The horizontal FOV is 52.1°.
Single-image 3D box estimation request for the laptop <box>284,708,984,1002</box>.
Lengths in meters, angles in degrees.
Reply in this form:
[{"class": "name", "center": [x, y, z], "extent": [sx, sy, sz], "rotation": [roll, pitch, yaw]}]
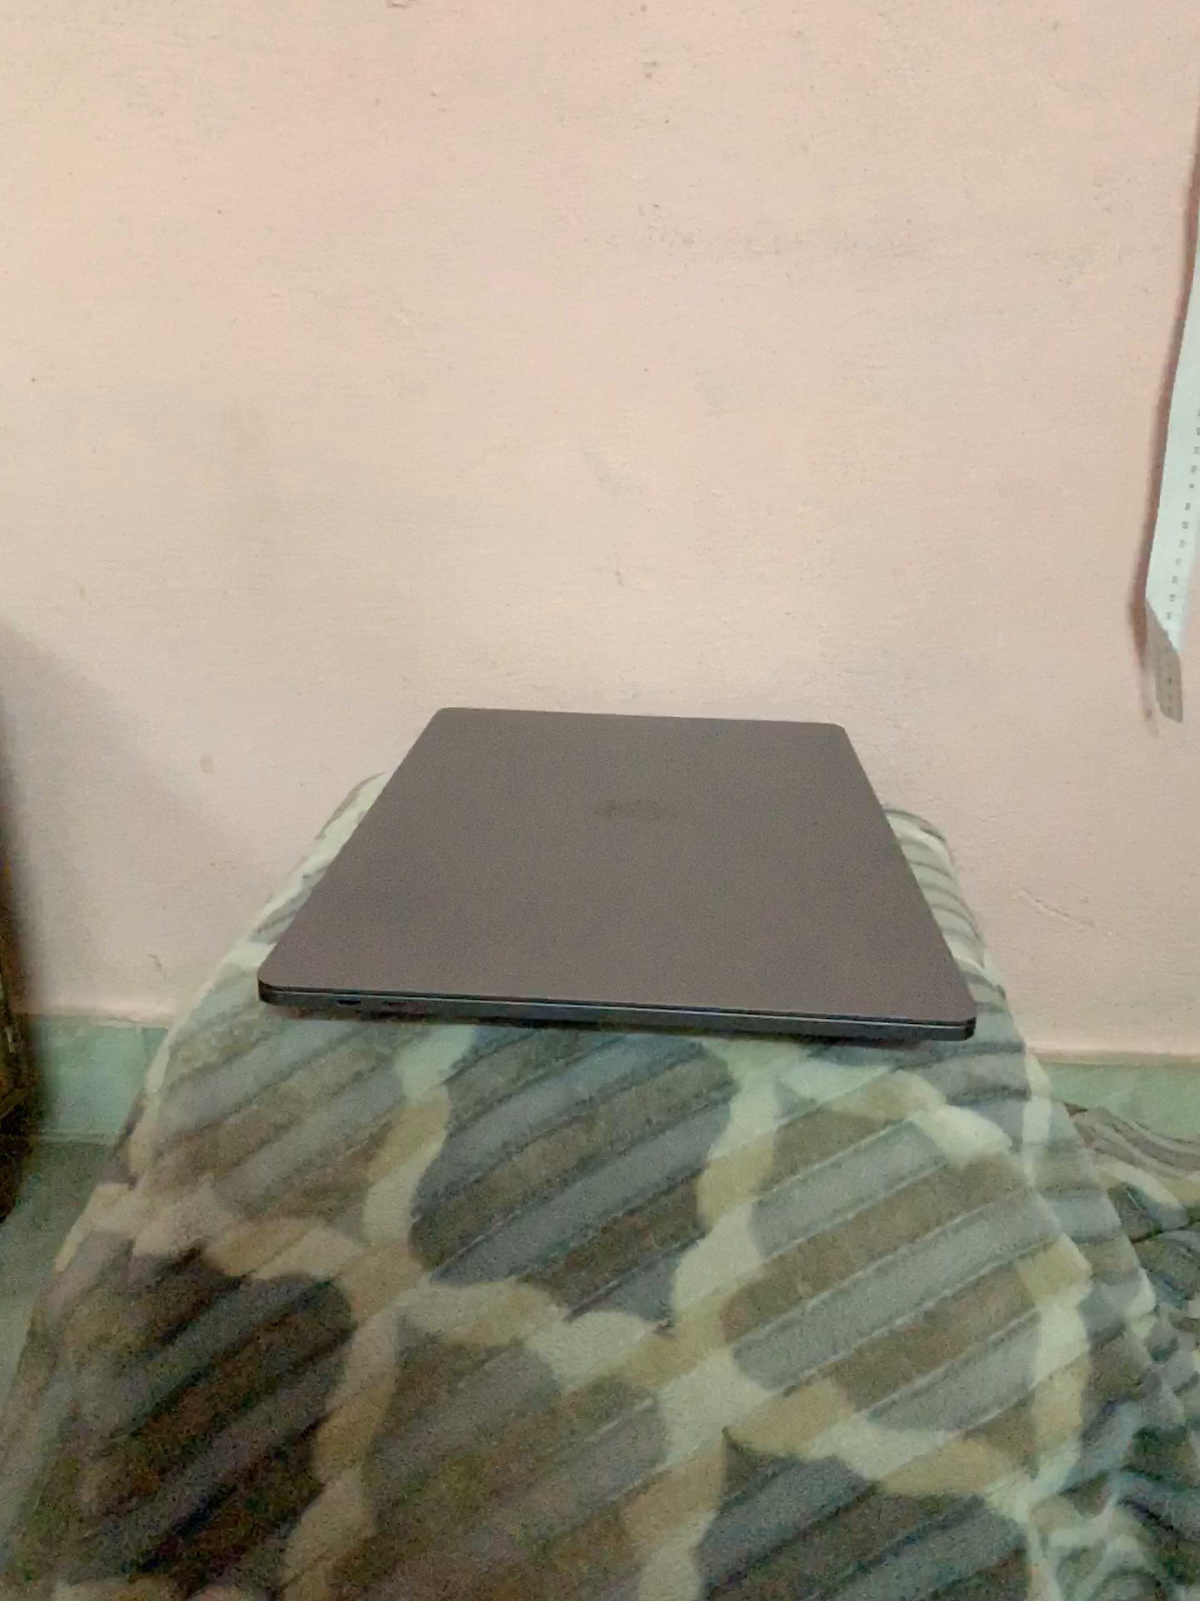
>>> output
[{"class": "laptop", "center": [0.019, 0.005, 0.553], "extent": [0.228, 0.002, 0.327], "rotation": [1, 20, 4]}]
